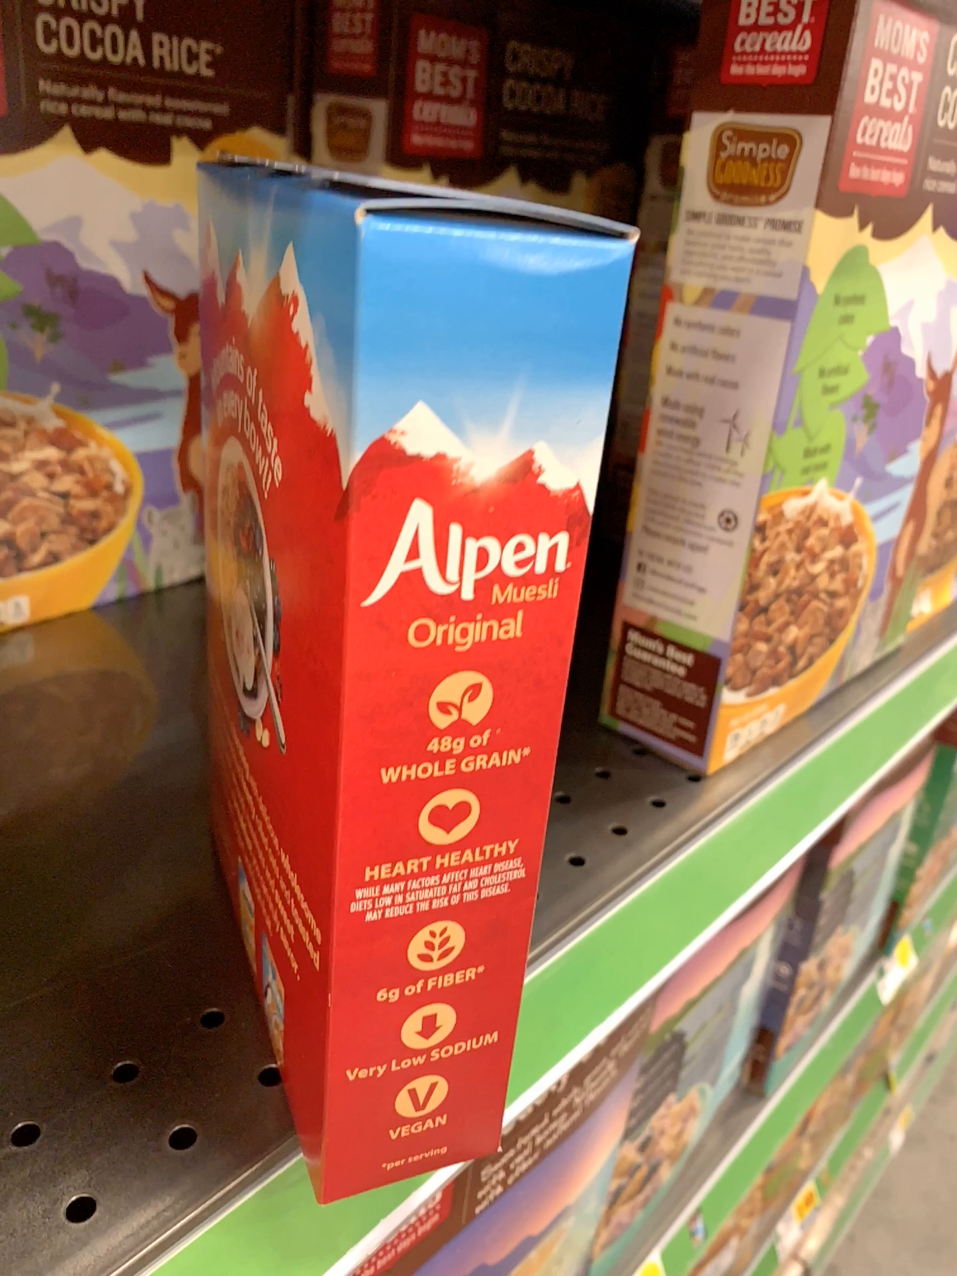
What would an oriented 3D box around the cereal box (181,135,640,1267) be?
[{"bbox_3d":[-0.036,0.000,0.238,0.040,0.209,0.161,-5,27,-22],"label":"cereal box"}]
